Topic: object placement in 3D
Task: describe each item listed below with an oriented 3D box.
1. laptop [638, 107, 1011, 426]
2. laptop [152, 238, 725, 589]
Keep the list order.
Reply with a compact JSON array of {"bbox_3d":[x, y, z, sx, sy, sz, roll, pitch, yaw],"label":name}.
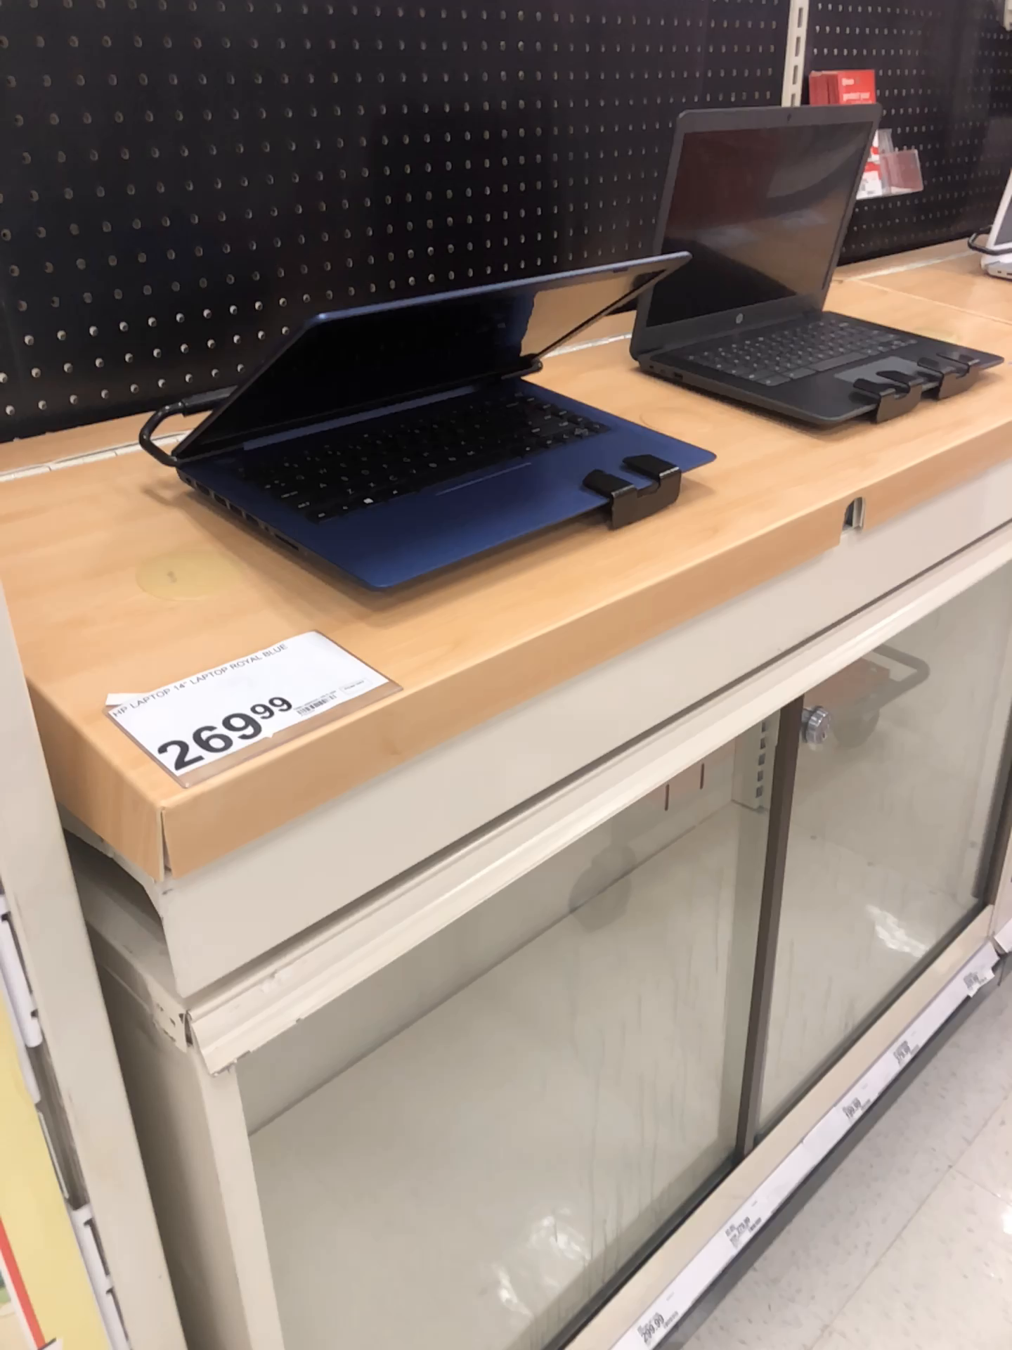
[{"bbox_3d":[0.312,-0.402,1.042,0.331,0.206,0.224,-24,38,-37],"label":"laptop"},{"bbox_3d":[-0.032,-0.197,0.747,0.201,0.110,0.321,29,40,36],"label":"laptop"}]
